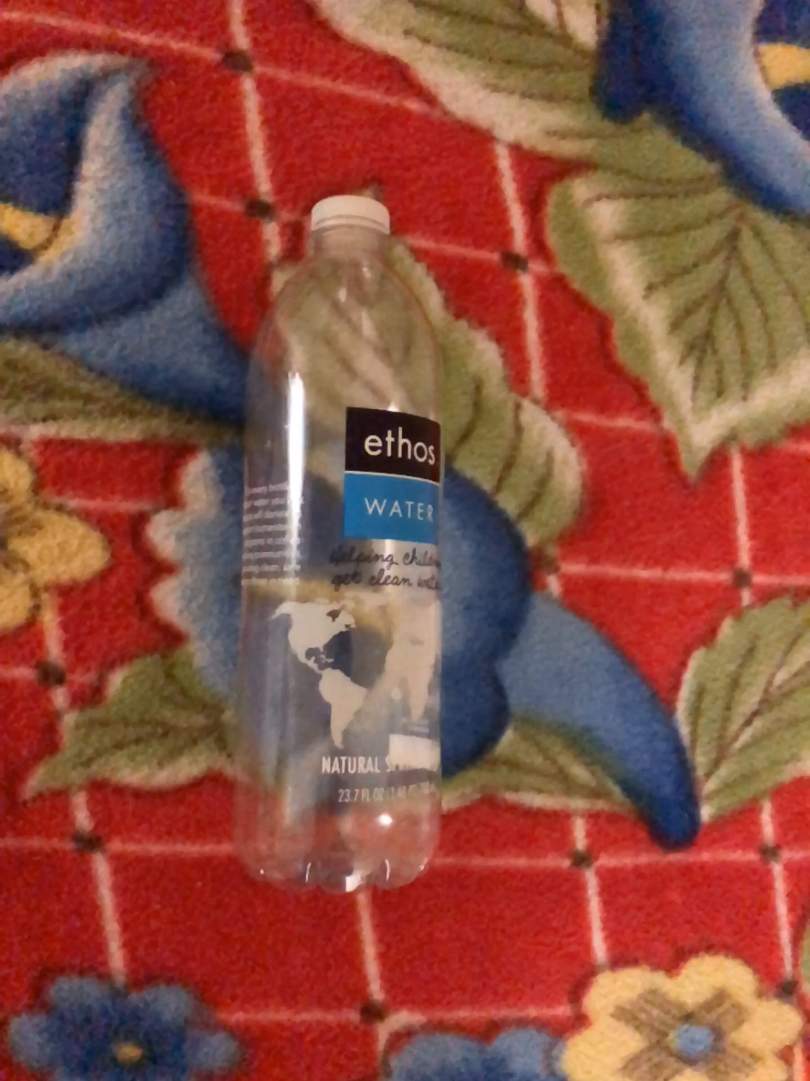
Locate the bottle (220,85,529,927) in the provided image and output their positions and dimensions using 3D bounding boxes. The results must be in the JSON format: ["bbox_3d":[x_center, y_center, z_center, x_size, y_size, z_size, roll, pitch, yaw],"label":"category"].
[{"bbox_3d":[-0.011,-0.009,0.305,0.070,0.070,0.240,3,88,-37],"label":"bottle"}]
